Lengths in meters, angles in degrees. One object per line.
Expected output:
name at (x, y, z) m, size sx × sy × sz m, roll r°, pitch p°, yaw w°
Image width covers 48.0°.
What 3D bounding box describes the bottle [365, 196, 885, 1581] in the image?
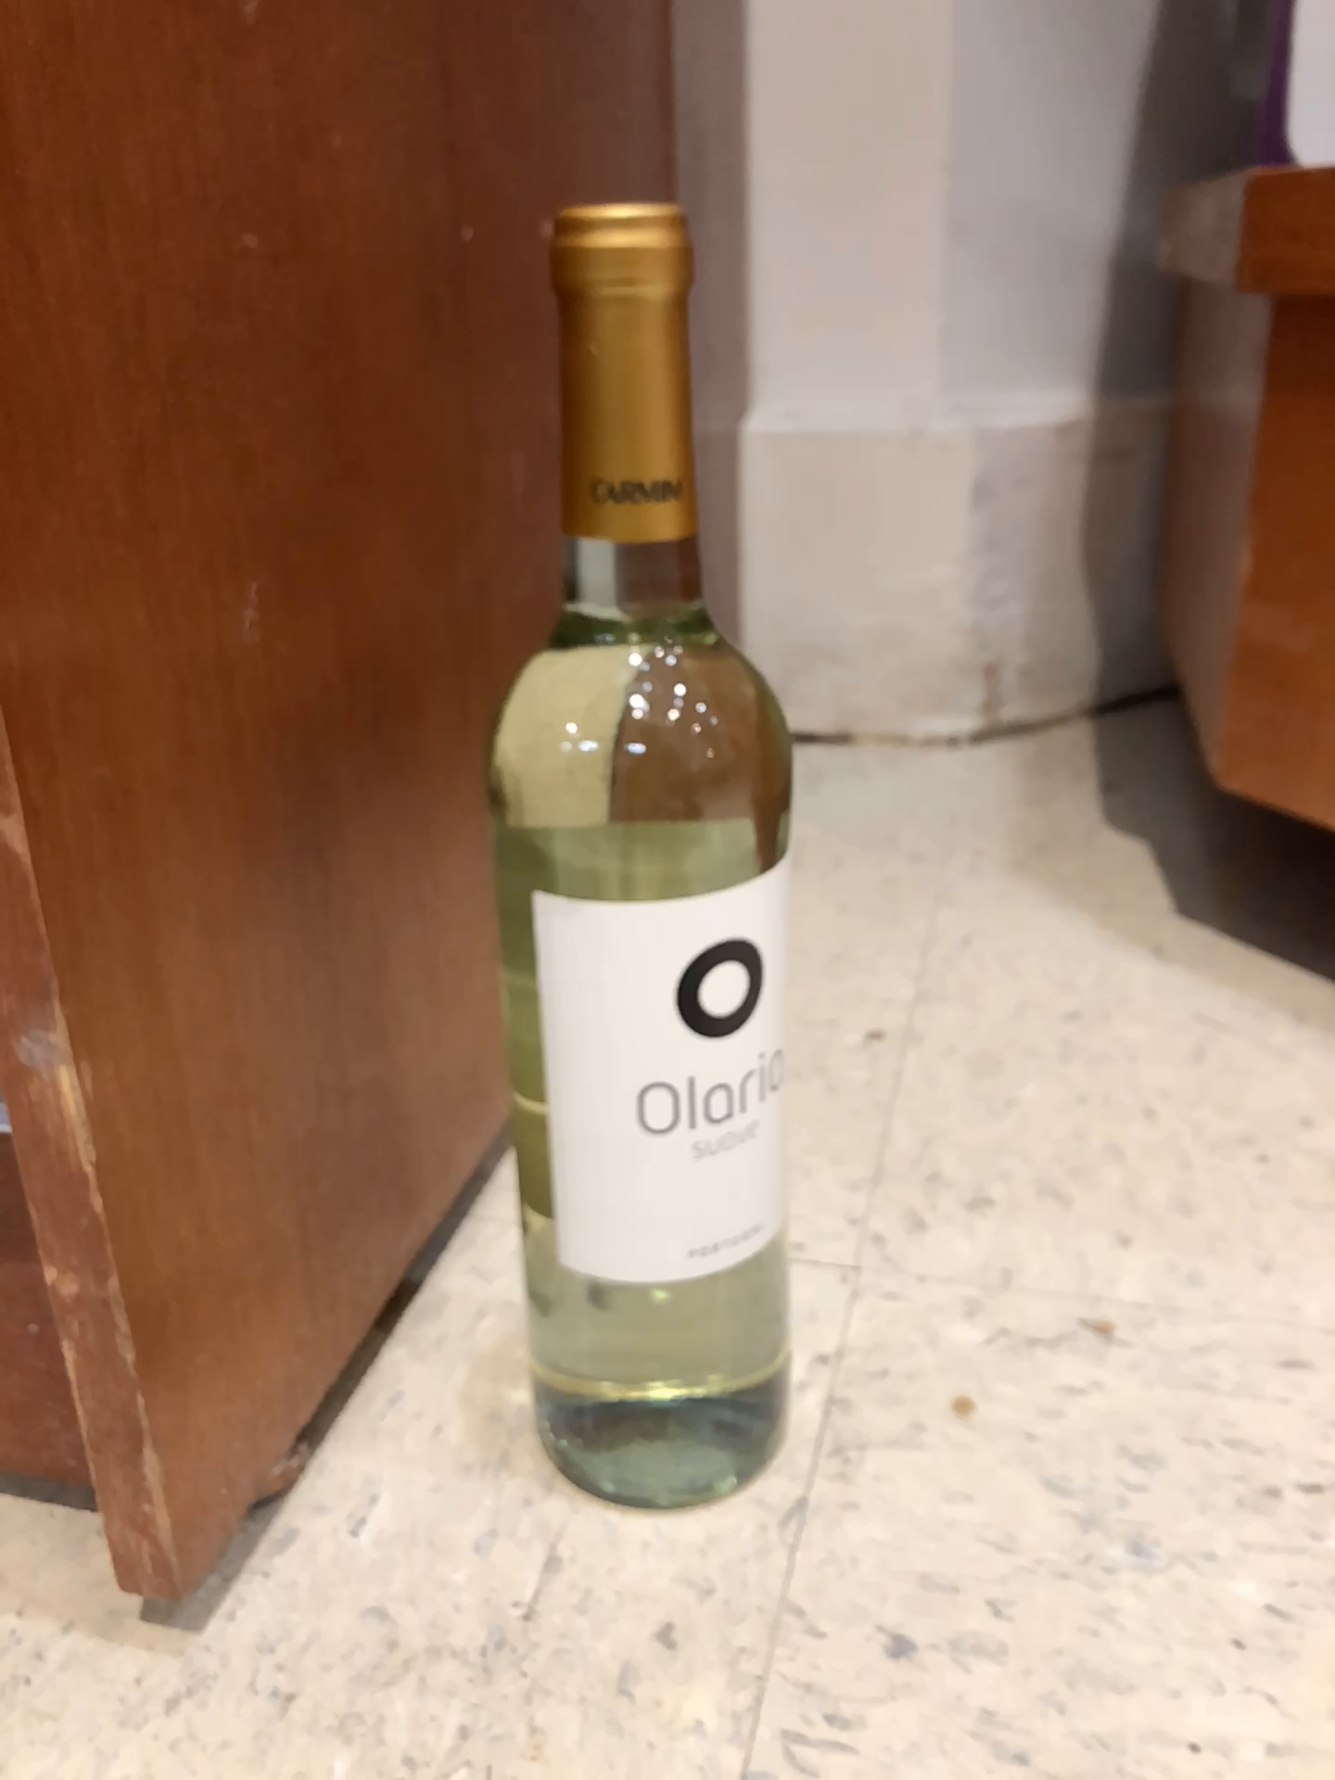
bottle at (-0.005, 0.007, 0.366) m, size 0.080 × 0.318 × 0.070 m, roll -17°, pitch 27°, yaw -32°
